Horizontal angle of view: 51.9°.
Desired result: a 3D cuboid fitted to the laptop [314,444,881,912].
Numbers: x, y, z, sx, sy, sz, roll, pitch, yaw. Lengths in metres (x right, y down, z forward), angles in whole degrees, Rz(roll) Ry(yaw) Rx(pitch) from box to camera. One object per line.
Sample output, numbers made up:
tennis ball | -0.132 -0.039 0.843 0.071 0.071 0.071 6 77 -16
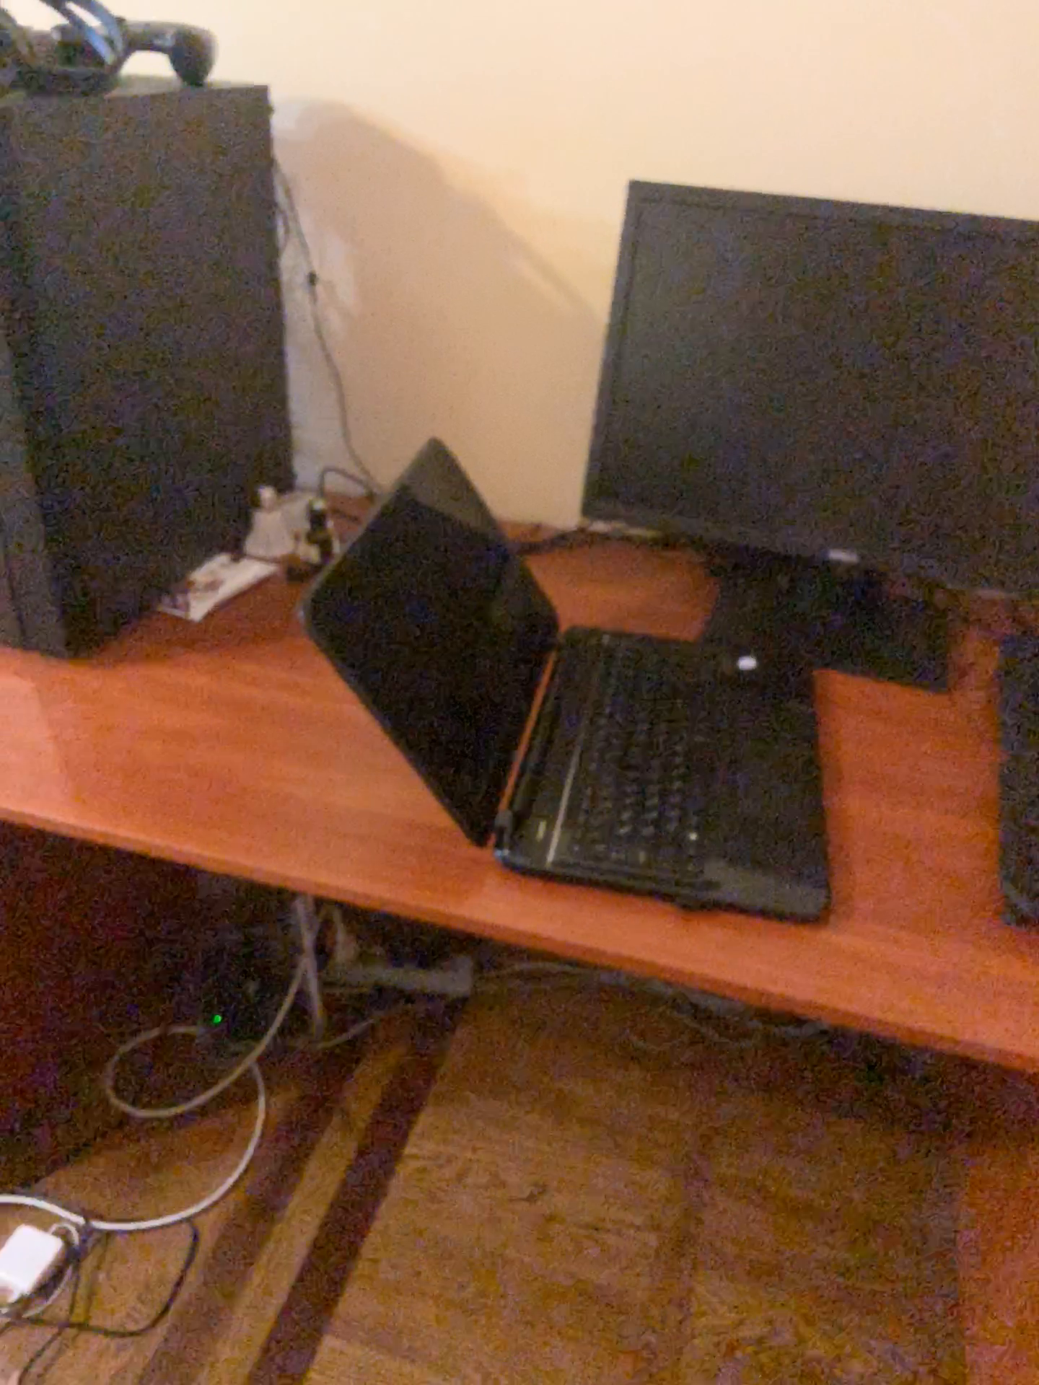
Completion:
laptop | 0.072 -0.043 0.884 0.368 0.181 0.368 8 32 10
